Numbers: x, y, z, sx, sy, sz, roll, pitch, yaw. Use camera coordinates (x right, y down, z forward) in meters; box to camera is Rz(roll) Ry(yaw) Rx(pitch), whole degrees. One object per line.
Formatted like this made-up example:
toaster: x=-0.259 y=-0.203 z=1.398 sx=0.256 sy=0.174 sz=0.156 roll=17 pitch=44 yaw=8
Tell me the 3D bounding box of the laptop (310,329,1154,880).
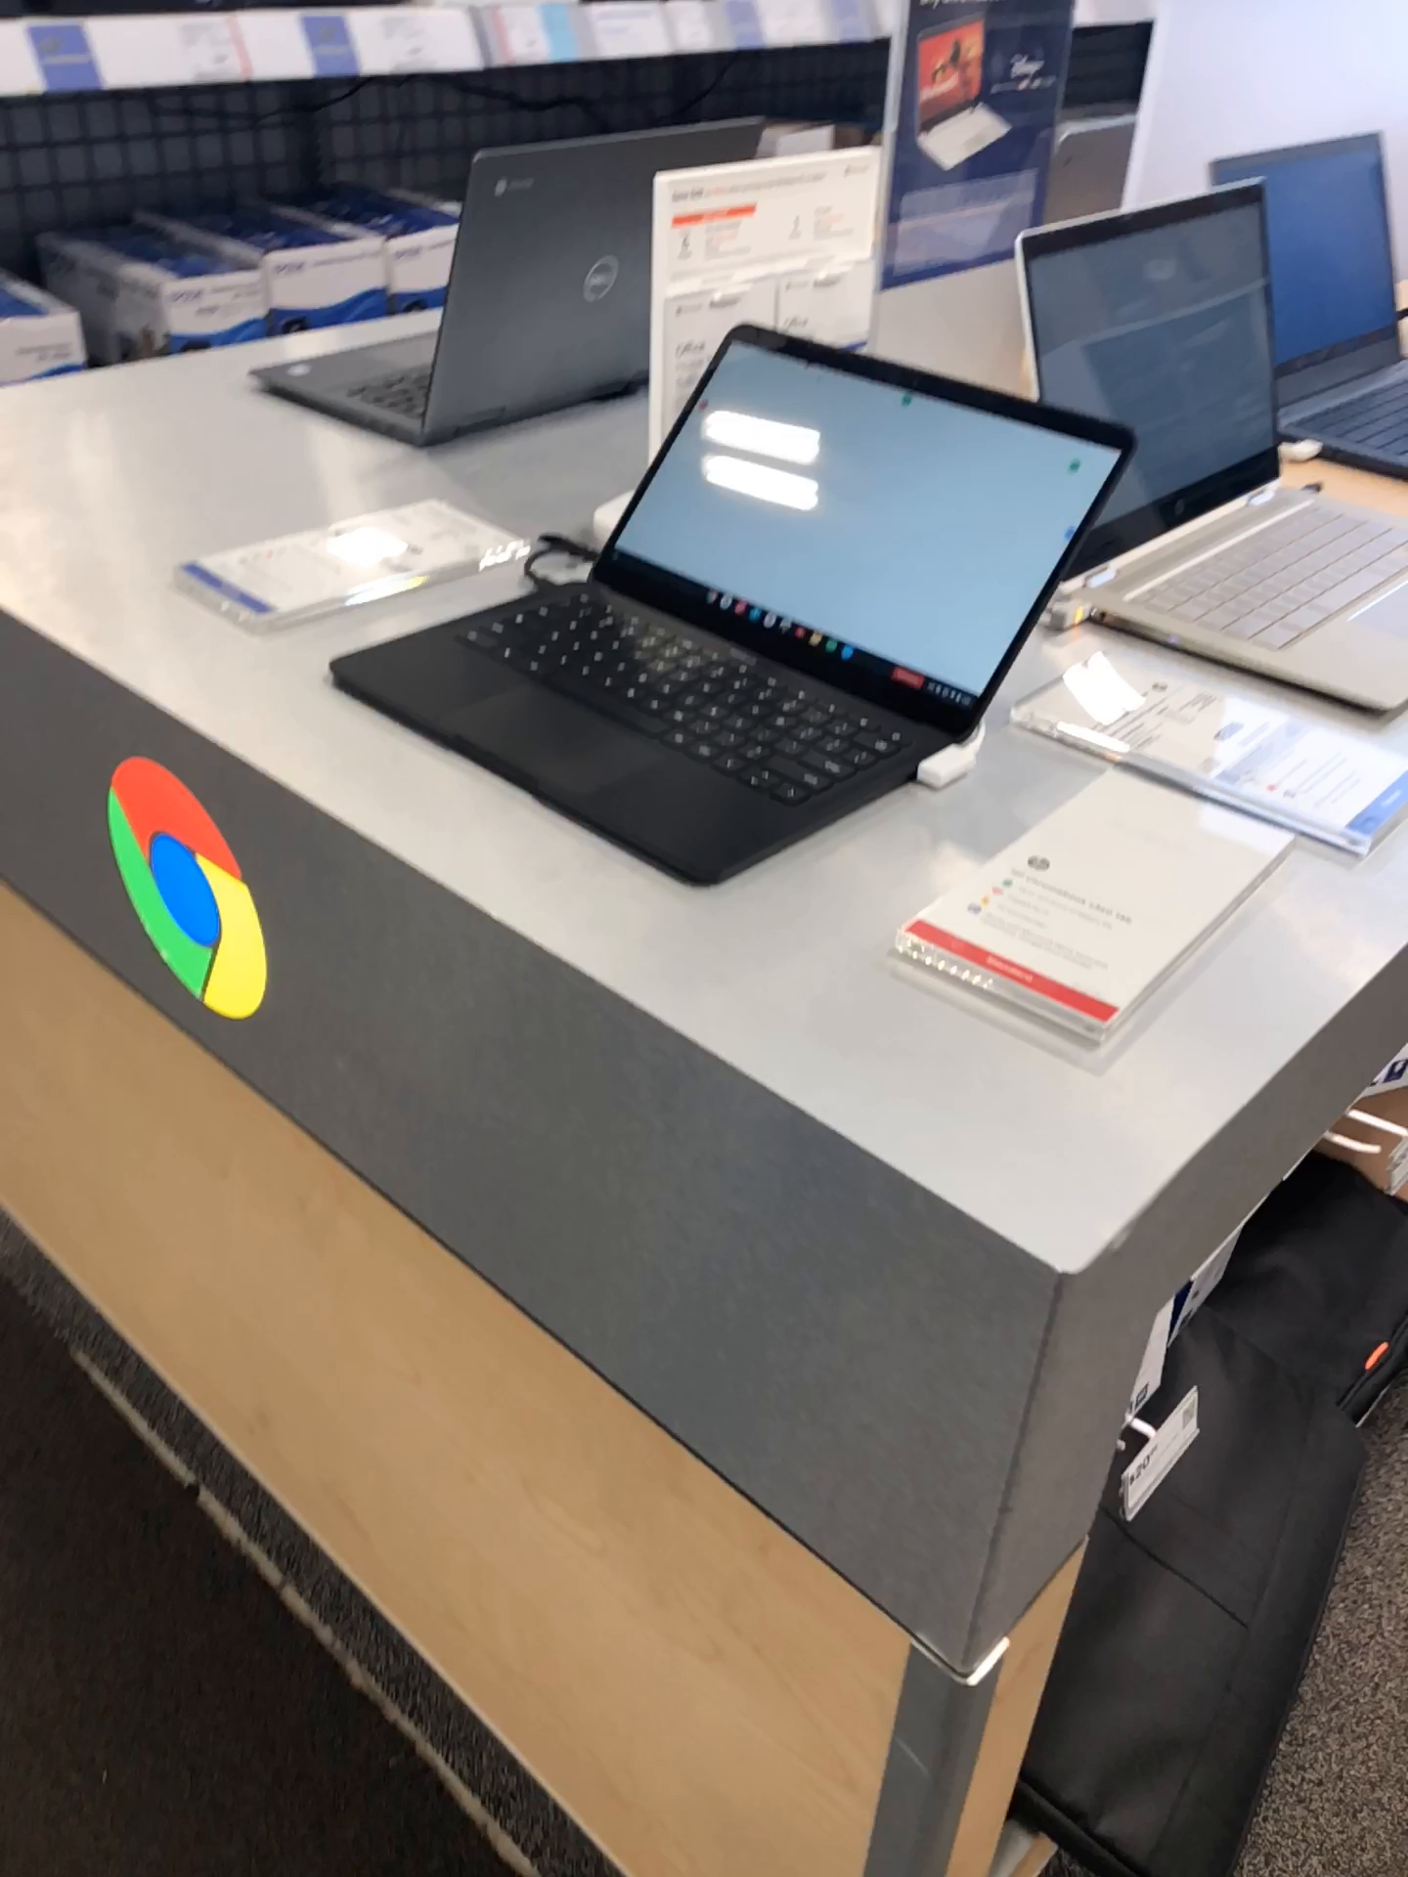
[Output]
laptop: x=0.018 y=-0.210 z=0.855 sx=0.294 sy=0.134 sz=0.336 roll=31 pitch=44 yaw=33
